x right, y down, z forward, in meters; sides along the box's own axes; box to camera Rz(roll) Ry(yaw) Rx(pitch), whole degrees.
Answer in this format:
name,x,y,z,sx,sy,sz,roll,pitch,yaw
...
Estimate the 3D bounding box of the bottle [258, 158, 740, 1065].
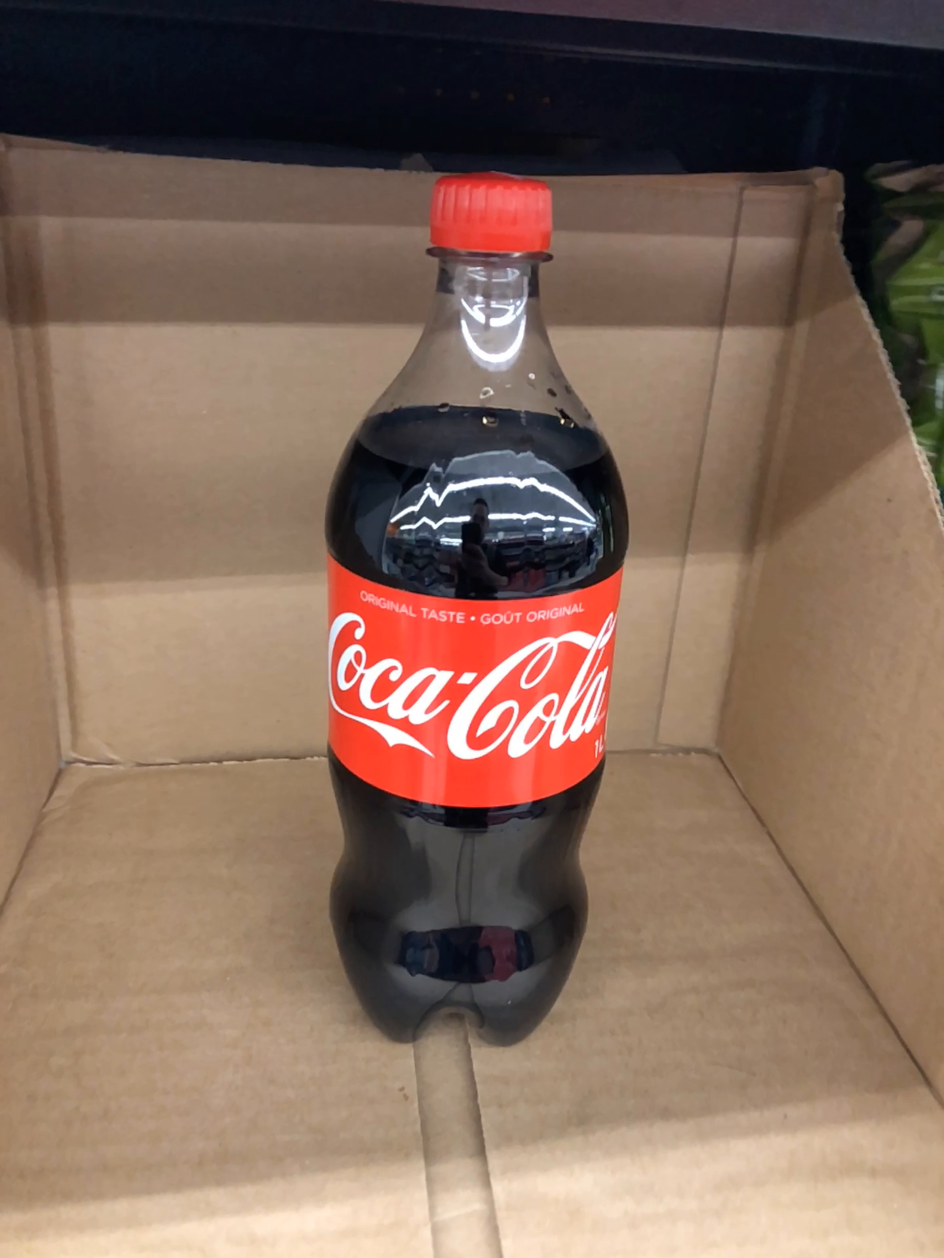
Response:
name,x,y,z,sx,sy,sz,roll,pitch,yaw
bottle,0.000,0.001,0.310,0.100,0.248,0.091,4,26,0
